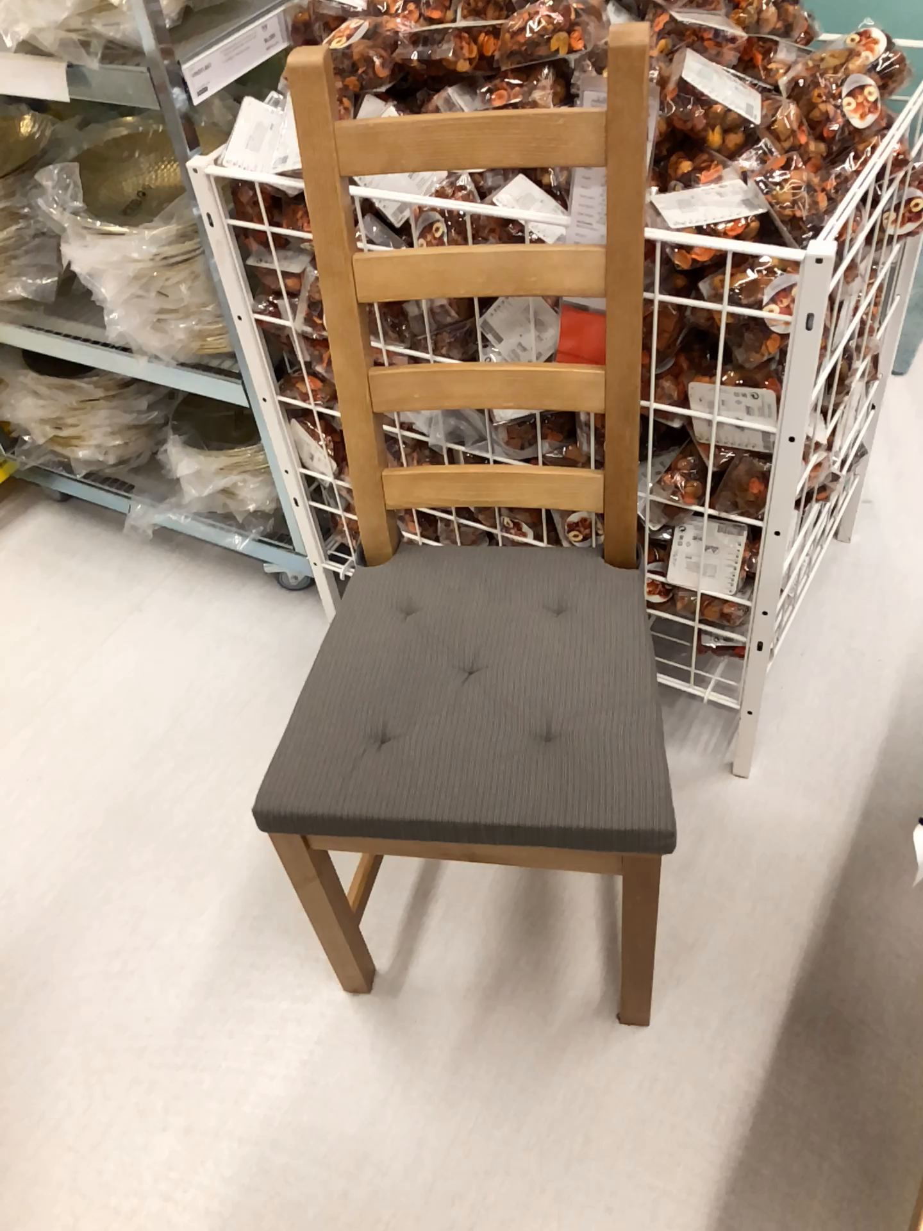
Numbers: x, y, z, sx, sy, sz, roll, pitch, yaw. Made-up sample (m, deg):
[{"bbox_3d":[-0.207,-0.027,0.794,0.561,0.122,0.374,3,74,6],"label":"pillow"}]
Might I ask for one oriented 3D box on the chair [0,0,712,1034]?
[{"bbox_3d":[-0.011,-0.020,1.007,0.430,0.914,0.473,2,47,10],"label":"chair"}]
